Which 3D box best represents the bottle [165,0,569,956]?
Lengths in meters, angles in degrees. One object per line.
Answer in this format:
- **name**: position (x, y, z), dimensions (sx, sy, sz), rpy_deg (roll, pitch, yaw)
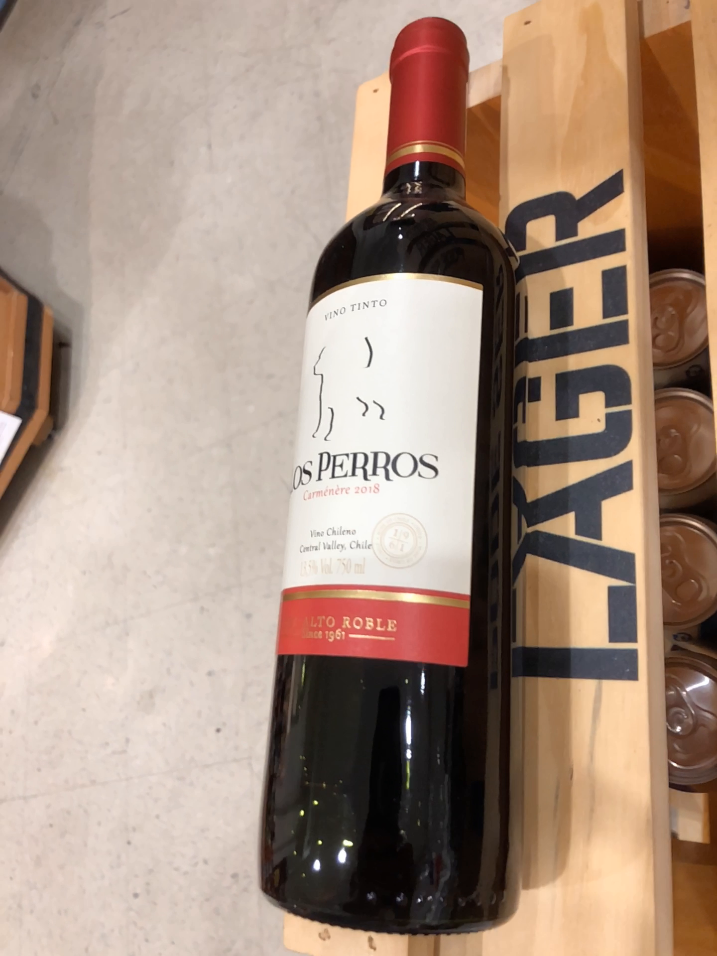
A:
- **bottle**: position (0.011, -0.027, 0.254), dimensions (0.090, 0.060, 0.310), rpy_deg (-7, 72, 33)
